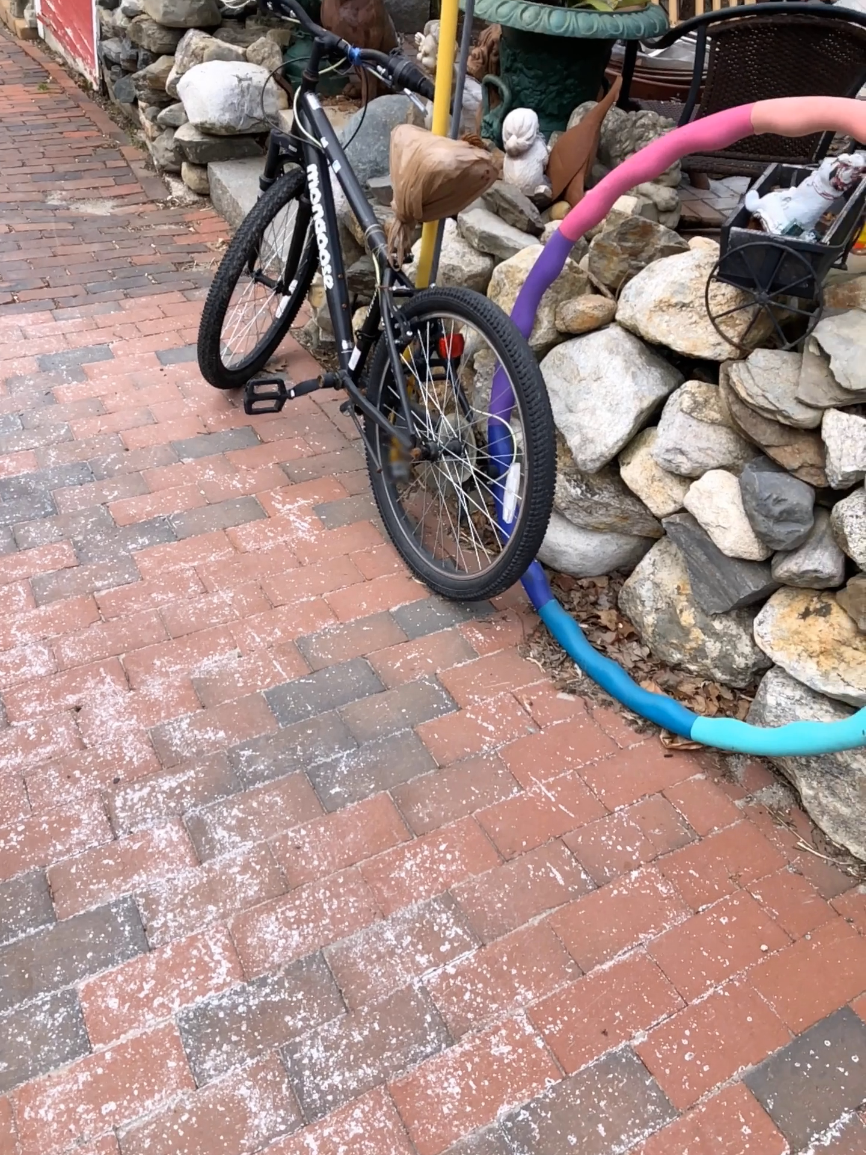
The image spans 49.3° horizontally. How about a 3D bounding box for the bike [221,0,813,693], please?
[{"bbox_3d":[-0.002,-0.639,2.064,0.633,0.872,1.416,-11,45,-20],"label":"bike"}]
